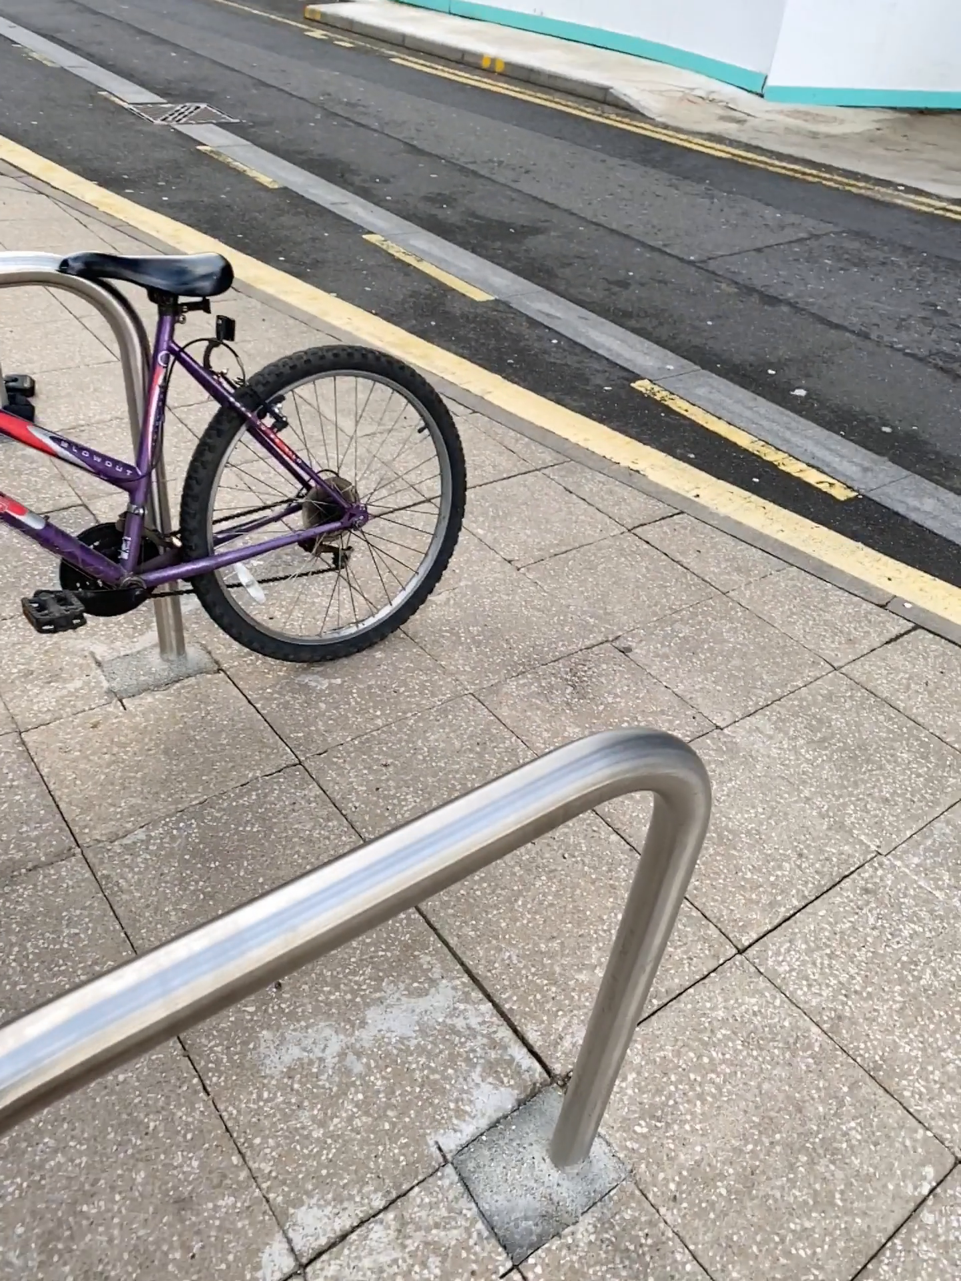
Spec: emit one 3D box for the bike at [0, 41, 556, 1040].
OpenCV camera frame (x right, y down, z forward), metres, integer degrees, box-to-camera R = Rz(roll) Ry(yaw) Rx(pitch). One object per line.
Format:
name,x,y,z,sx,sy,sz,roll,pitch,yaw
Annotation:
bike,-0.748,-0.315,1.631,1.738,1.042,0.583,-23,46,-35
